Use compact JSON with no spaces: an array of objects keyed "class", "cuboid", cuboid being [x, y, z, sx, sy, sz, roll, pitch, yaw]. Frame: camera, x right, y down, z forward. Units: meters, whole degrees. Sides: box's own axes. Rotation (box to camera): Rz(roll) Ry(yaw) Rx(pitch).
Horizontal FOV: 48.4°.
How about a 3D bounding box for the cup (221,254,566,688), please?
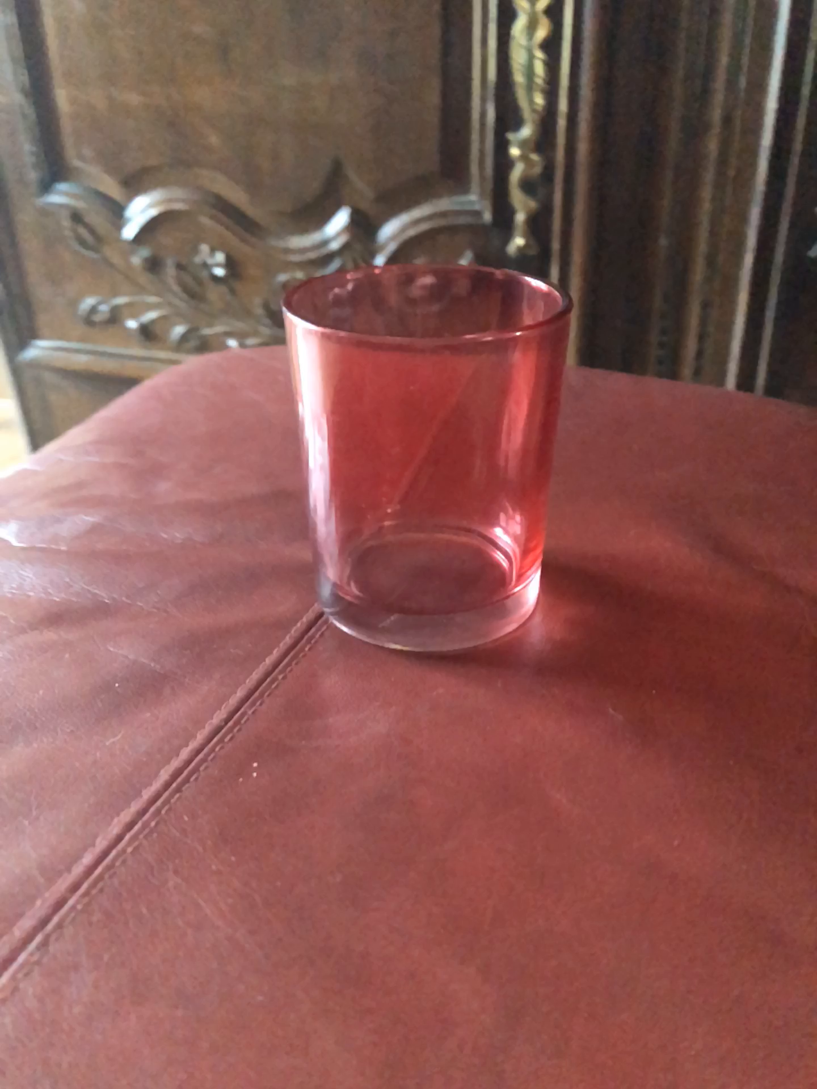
[{"class":"cup","cuboid":[0.002,-0.023,0.239,0.070,0.089,0.070,-2,28,1]}]
